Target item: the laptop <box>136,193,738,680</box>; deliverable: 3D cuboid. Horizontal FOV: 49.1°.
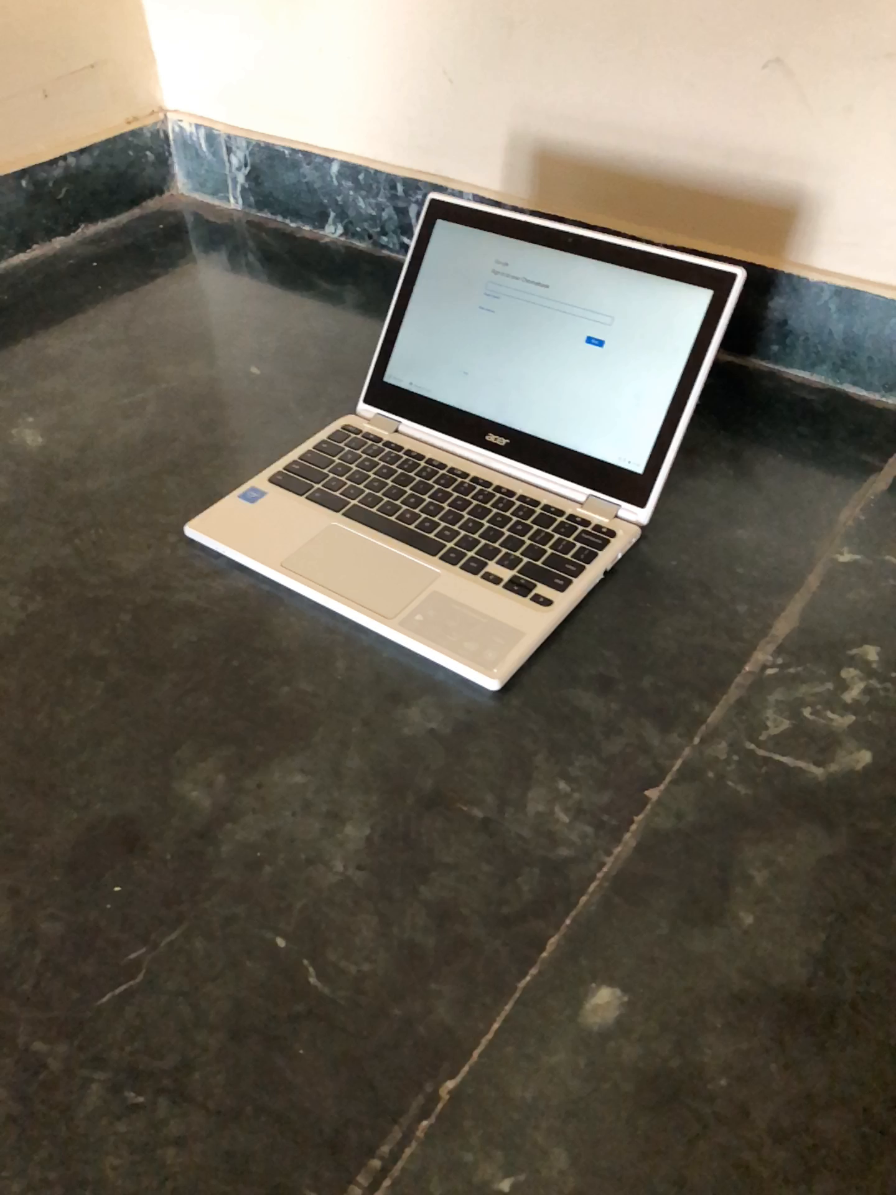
[{"bbox_3d":[0.005,-0.145,0.725,0.281,0.156,0.315,25,48,26],"label":"laptop"}]
